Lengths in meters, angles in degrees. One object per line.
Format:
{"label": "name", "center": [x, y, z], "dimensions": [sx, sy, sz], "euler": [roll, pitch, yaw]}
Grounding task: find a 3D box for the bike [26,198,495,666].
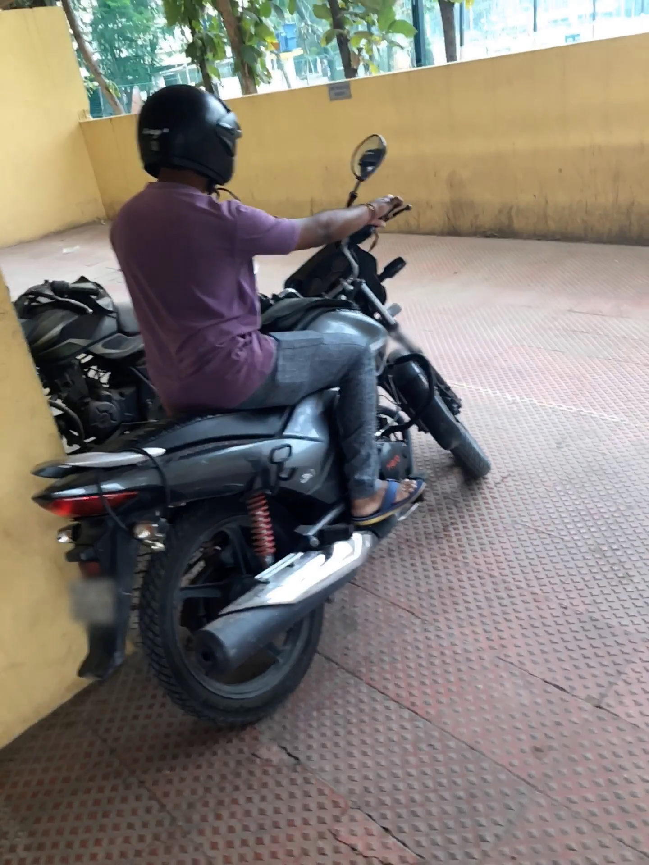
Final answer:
{"label": "bike", "center": [-0.045, -0.121, 2.291], "dimensions": [0.701, 0.999, 1.241], "euler": [9, 30, 33]}
